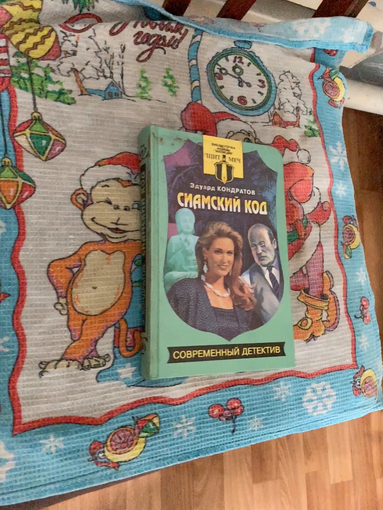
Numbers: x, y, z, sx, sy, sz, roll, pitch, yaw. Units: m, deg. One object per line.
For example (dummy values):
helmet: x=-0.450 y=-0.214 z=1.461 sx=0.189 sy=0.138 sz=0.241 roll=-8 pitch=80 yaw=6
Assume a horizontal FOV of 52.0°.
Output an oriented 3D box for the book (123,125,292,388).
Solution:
book: x=0.015 y=0.000 z=0.333 sx=0.140 sy=0.023 sz=0.200 roll=2 pitch=81 yaw=-22
